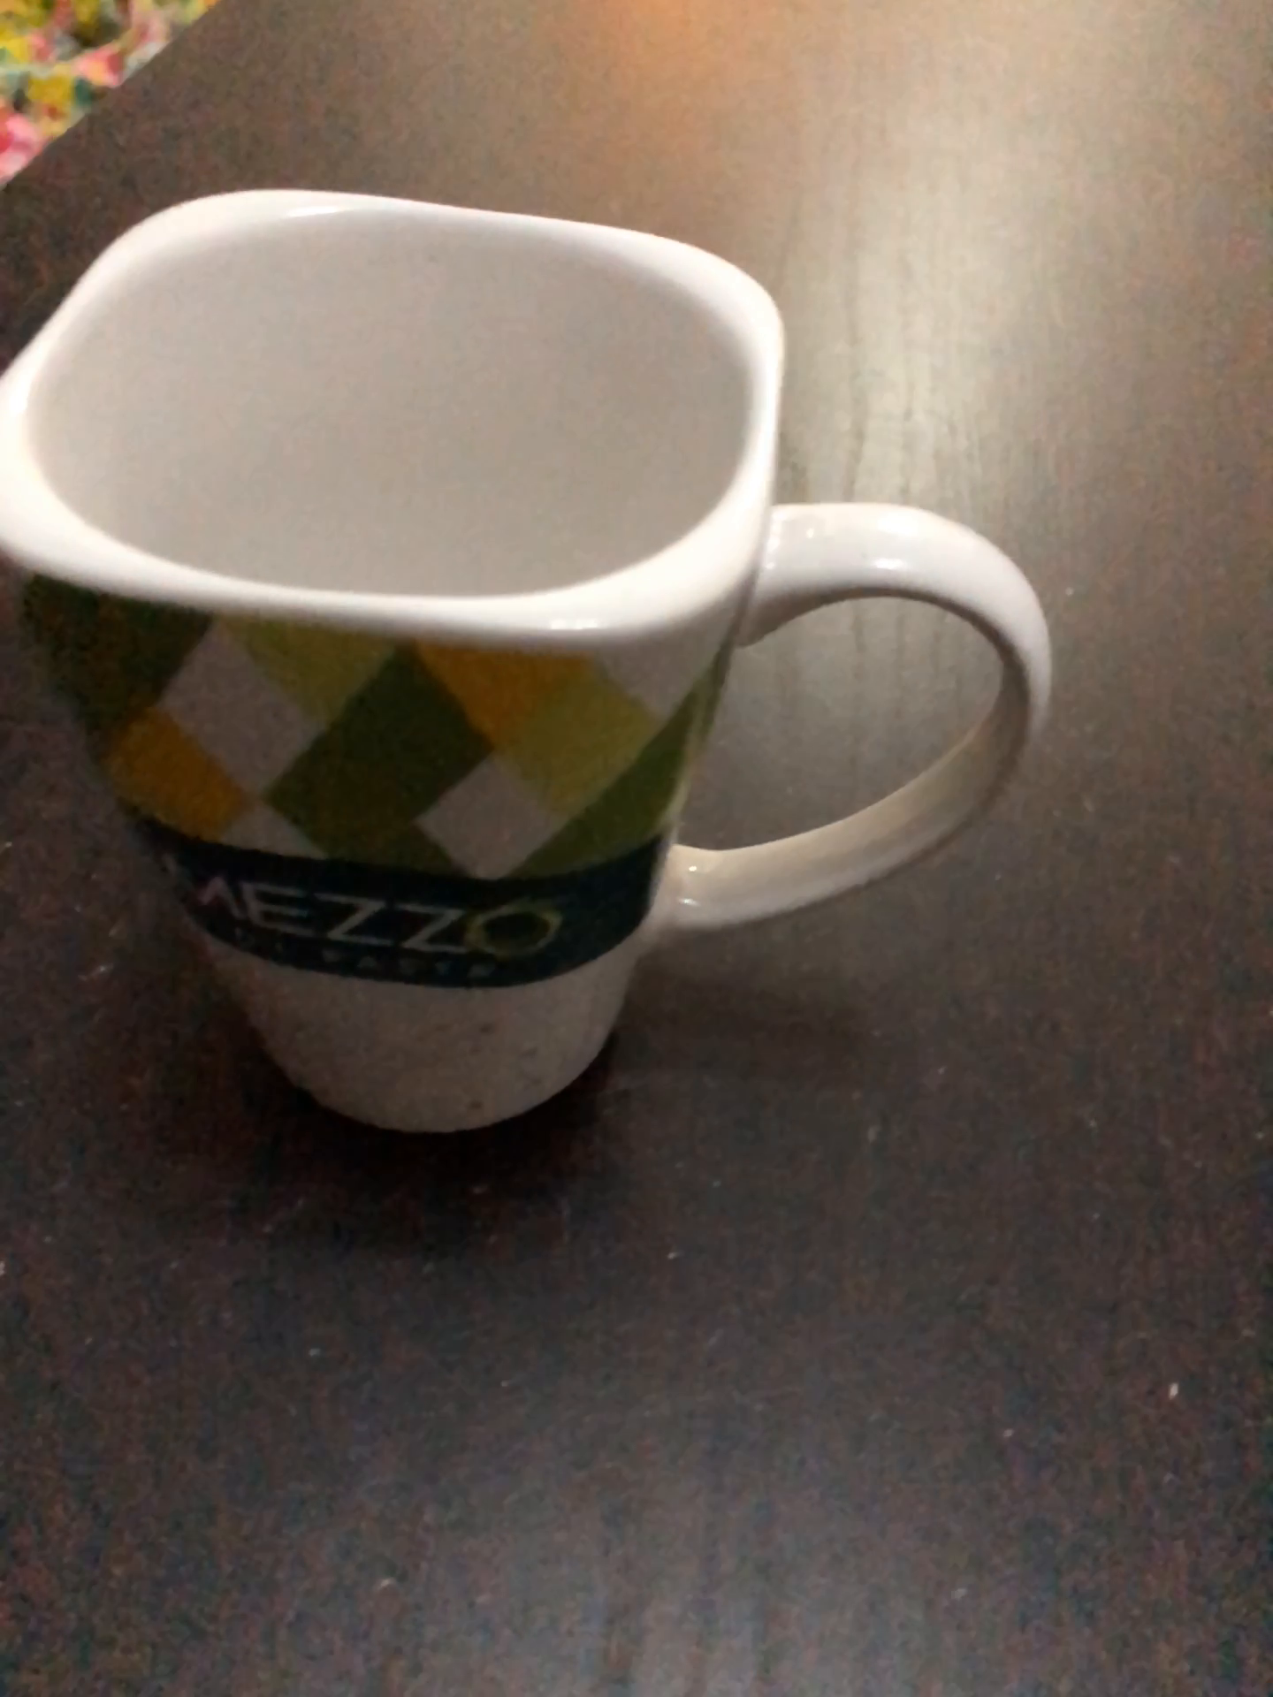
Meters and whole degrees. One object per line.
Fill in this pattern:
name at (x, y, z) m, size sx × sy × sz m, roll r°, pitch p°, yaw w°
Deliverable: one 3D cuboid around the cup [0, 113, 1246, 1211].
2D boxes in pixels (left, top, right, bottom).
cup at (-0.008, -0.020, 0.170) m, size 0.110 × 0.089 × 0.080 m, roll 6°, pitch 47°, yaw 0°
